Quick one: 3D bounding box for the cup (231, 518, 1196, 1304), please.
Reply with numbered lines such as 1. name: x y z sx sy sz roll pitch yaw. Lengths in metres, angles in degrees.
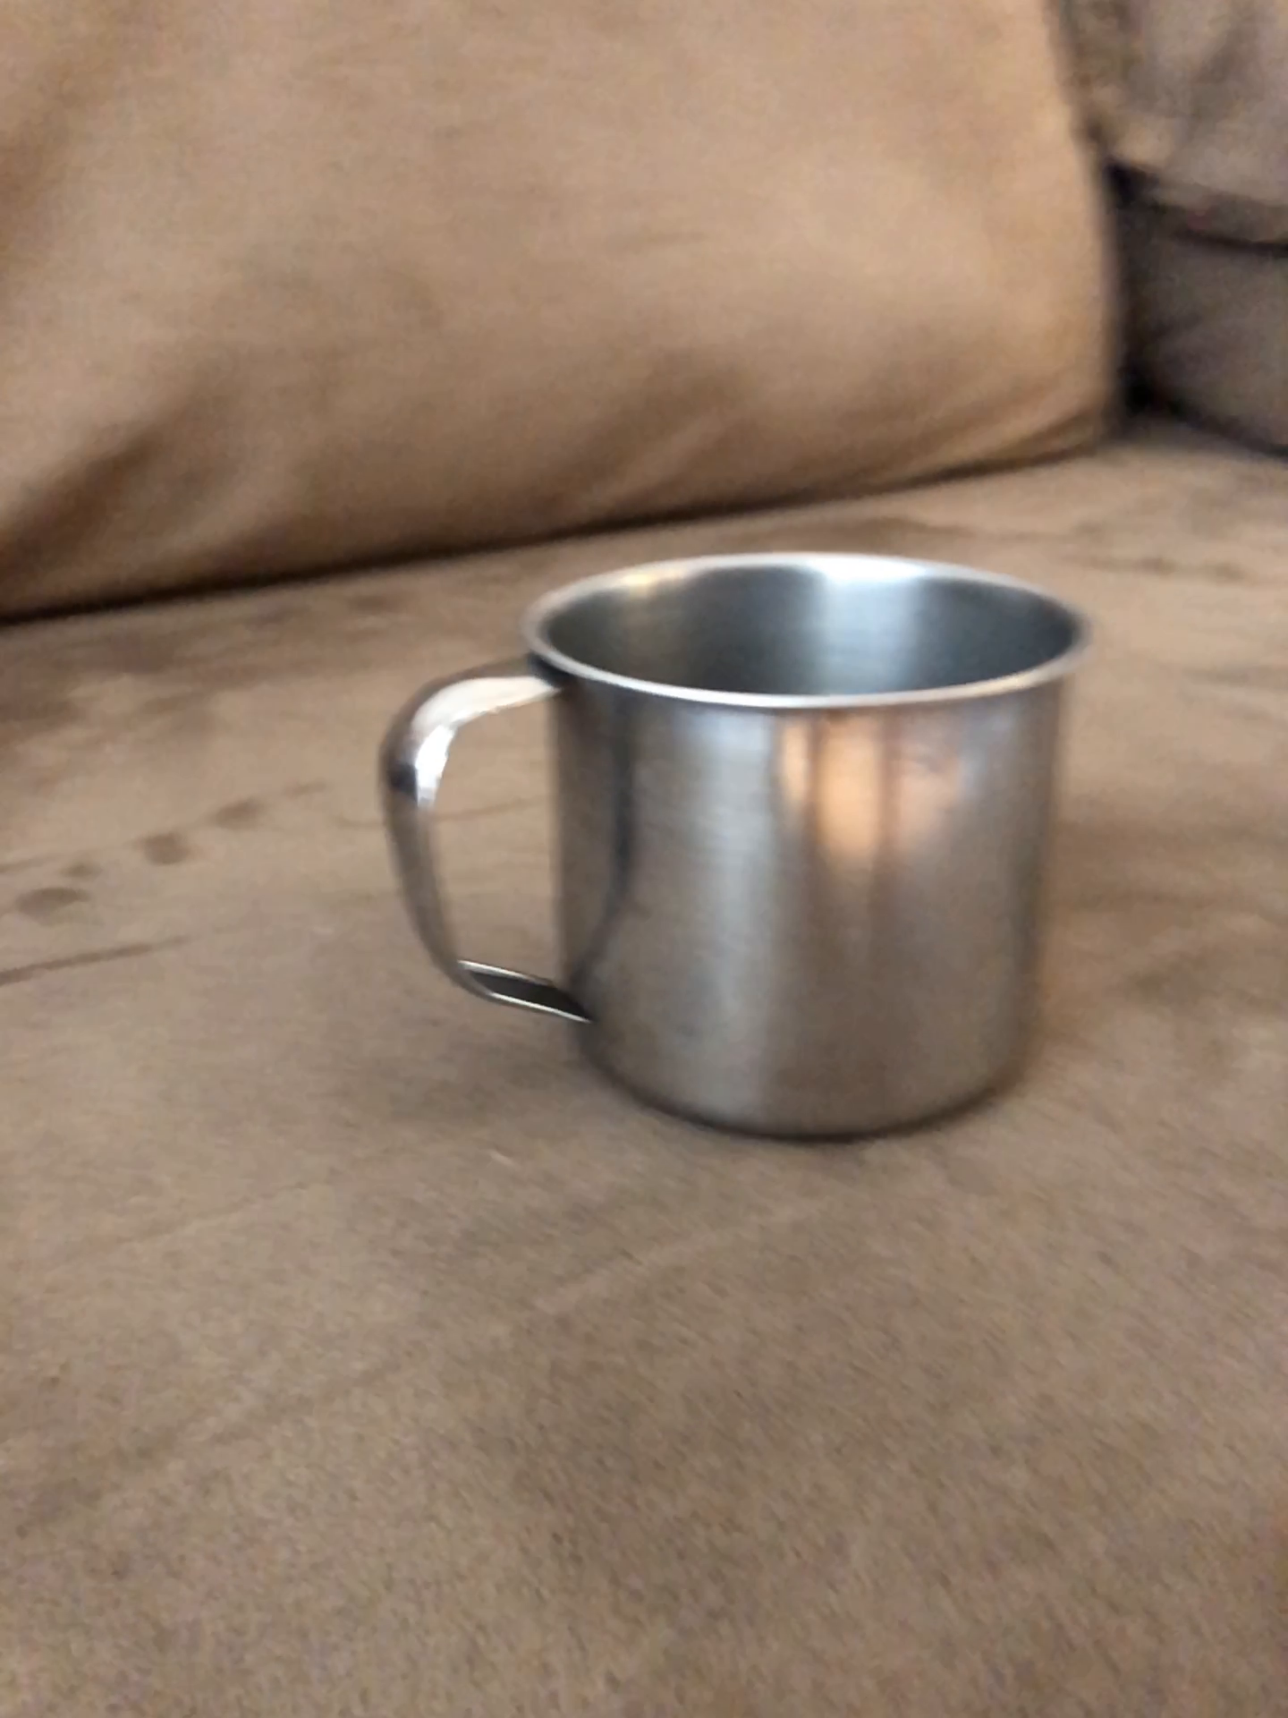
1. cup: 0.007 -0.005 0.225 0.110 0.070 0.090 -14 26 -27
